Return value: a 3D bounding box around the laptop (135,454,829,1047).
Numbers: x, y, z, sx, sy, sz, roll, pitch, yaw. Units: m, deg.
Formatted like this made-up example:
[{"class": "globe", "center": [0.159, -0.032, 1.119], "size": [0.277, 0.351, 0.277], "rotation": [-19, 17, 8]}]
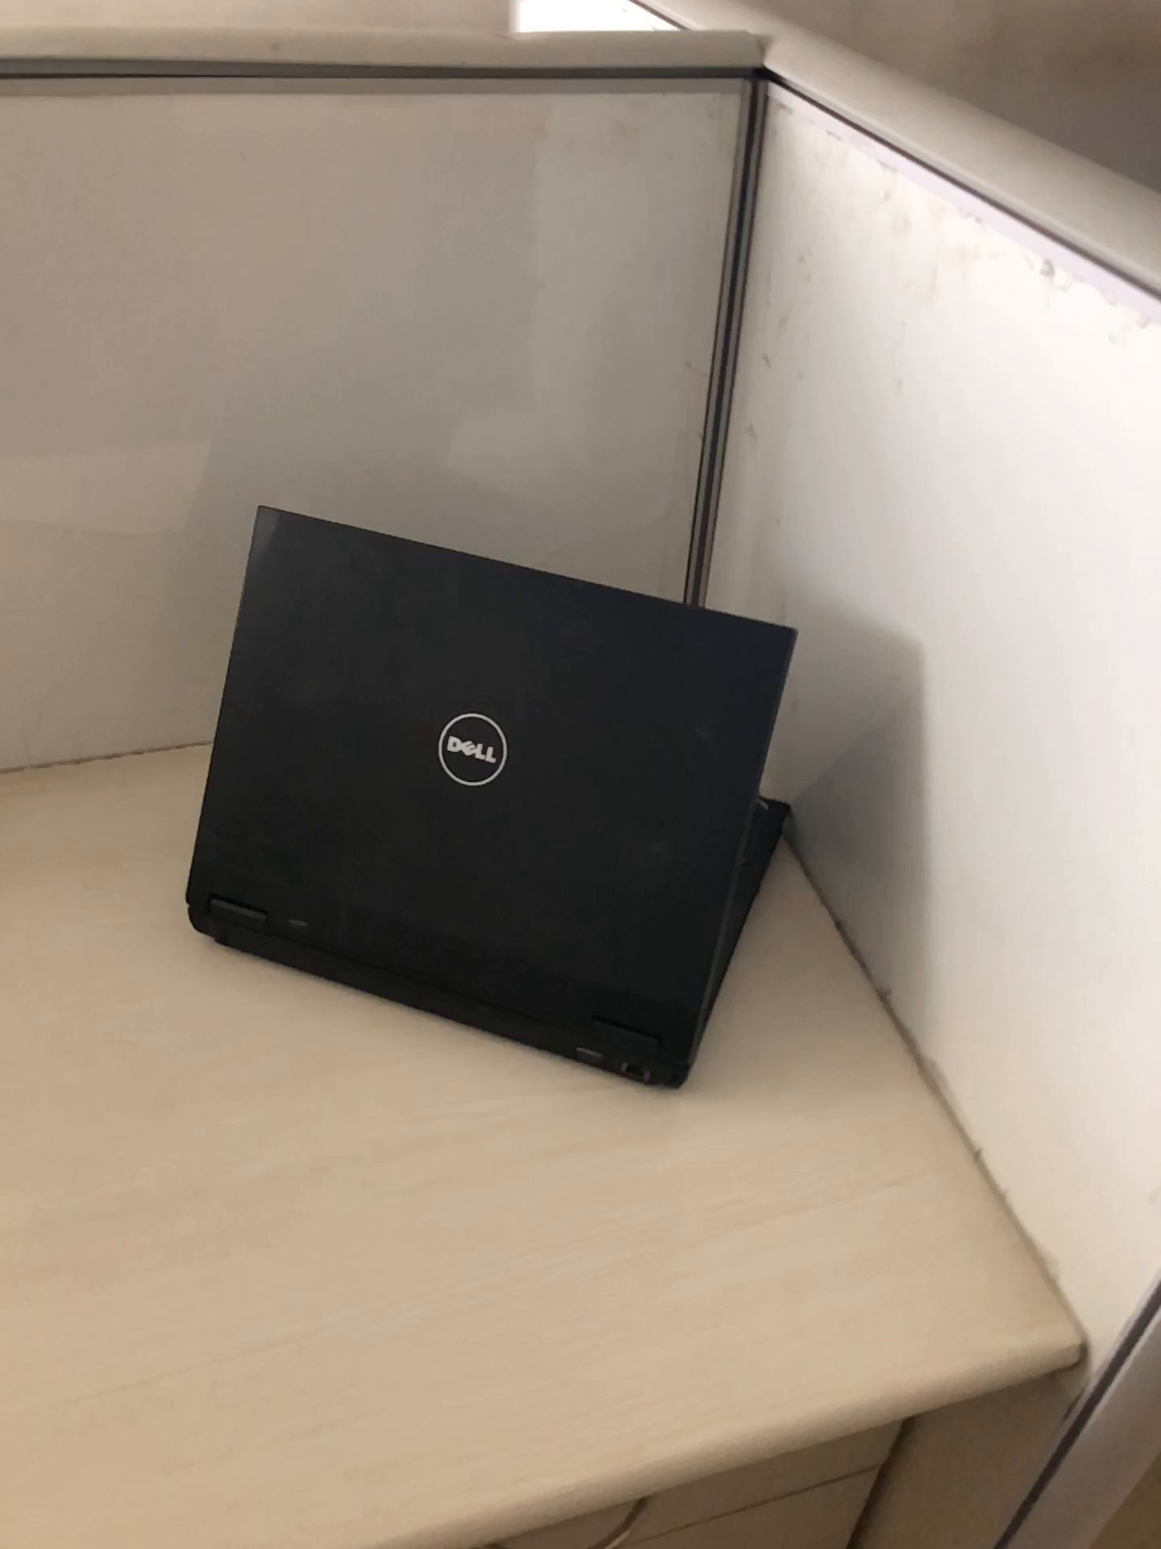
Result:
[{"class": "laptop", "center": [-0.042, -0.030, 0.739], "size": [0.304, 0.190, 0.231], "rotation": [15, 37, 14]}]
